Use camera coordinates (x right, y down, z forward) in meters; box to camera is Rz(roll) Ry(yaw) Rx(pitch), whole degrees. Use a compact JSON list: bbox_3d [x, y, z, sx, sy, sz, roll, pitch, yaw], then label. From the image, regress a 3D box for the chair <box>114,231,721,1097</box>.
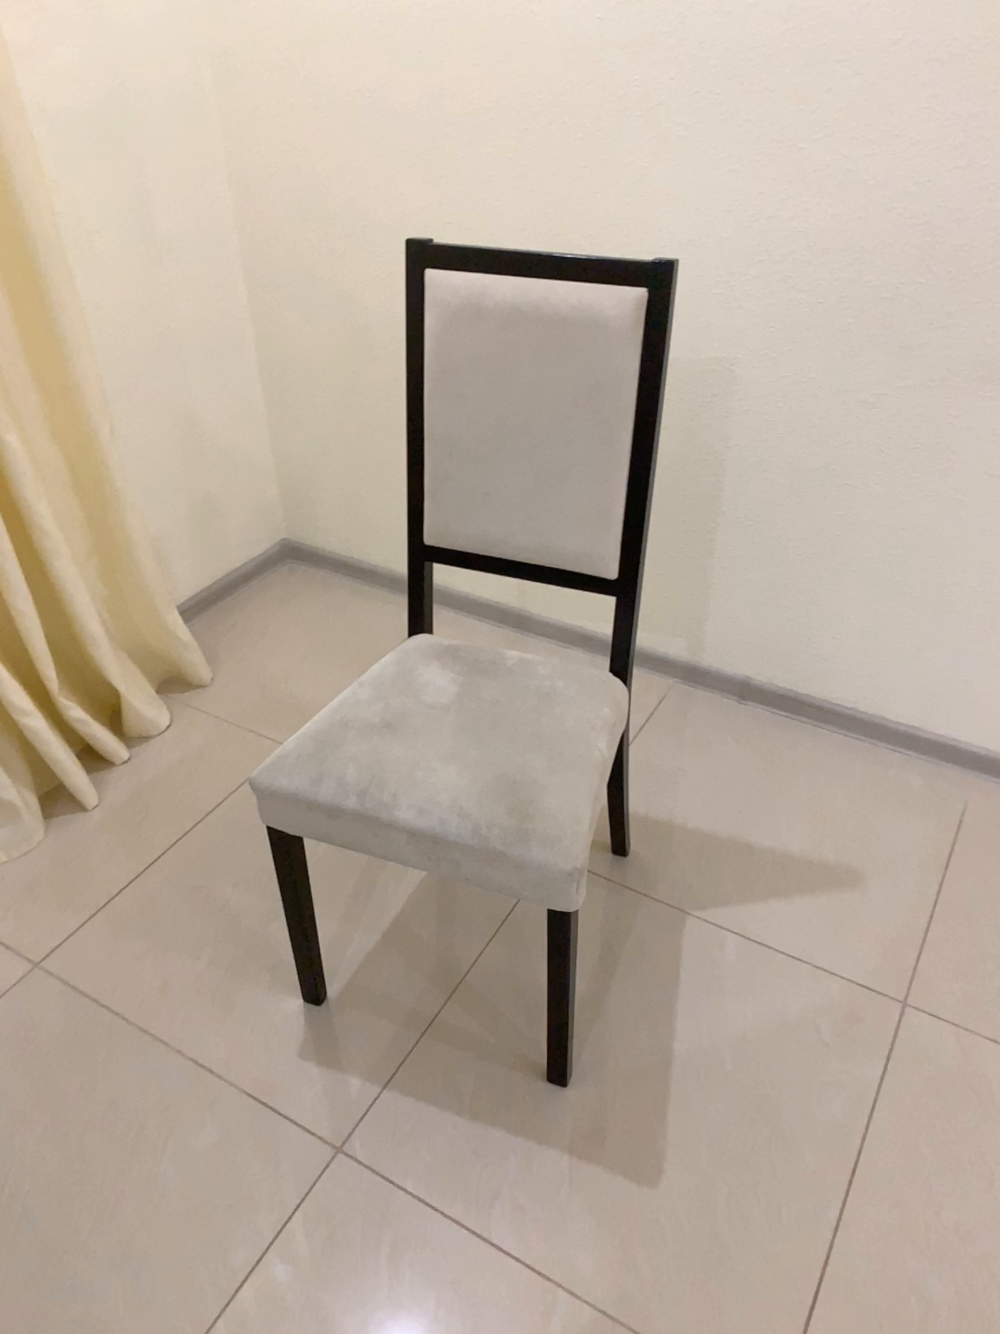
[{"bbox_3d":[-0.034,-0.007,1.367,0.480,0.964,0.513,11,36,19],"label":"chair"}]
